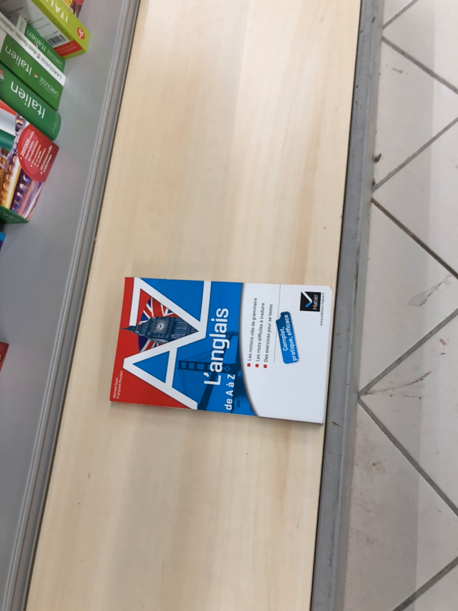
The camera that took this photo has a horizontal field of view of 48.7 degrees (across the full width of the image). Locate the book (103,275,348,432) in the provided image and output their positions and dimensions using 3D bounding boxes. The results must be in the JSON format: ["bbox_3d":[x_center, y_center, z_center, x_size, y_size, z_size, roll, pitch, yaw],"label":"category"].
[{"bbox_3d":[-0.003,0.042,0.512,0.234,0.030,0.143,2,73,16],"label":"book"}]
